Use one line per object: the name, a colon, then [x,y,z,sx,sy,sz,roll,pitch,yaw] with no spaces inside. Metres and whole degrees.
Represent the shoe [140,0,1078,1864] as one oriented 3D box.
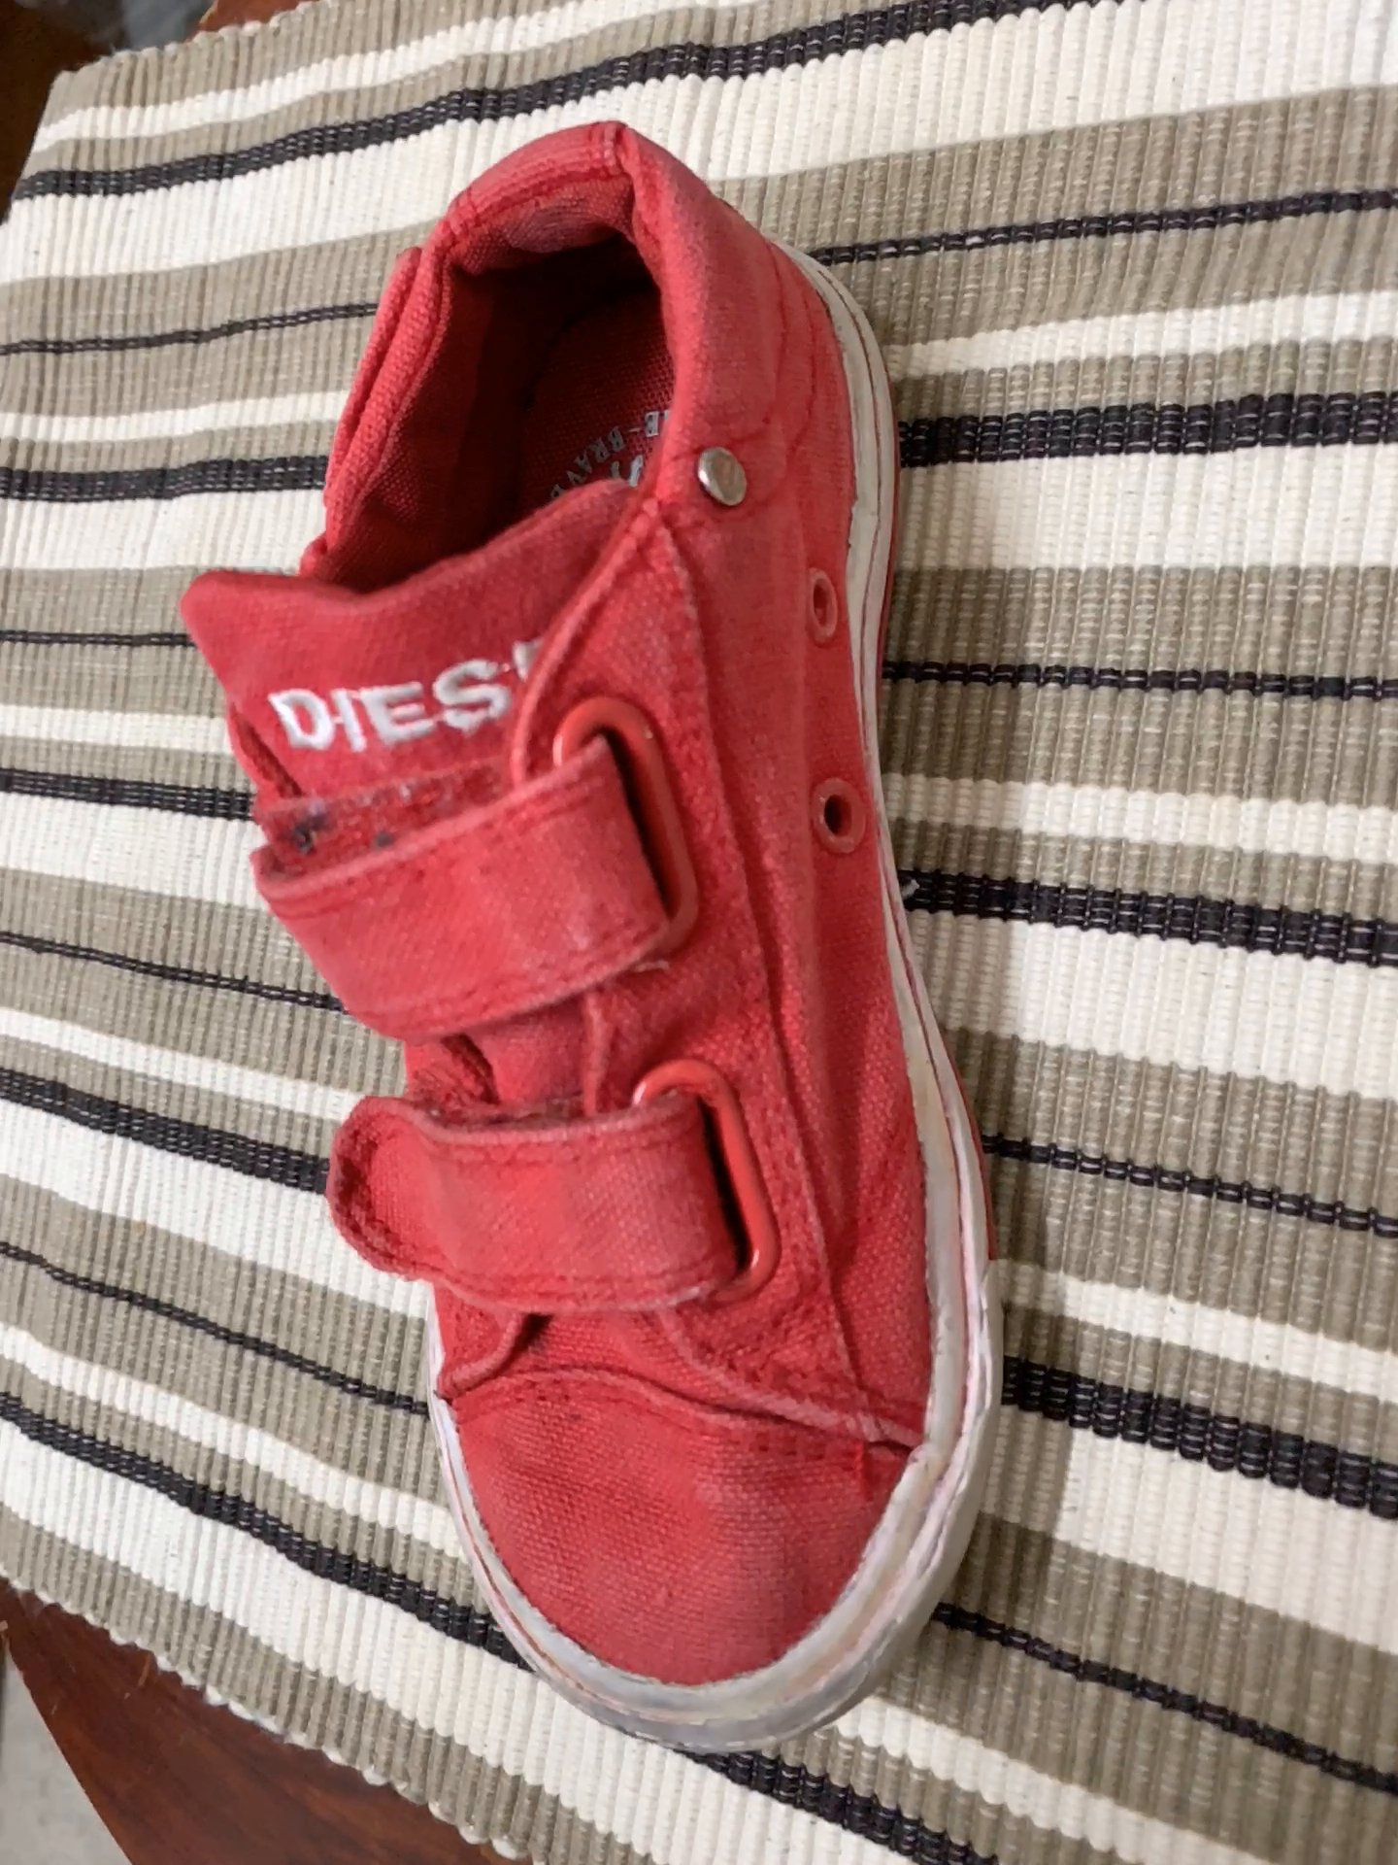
shoe: [-0.008,-0.007,0.171,0.080,0.070,0.170,-4,84,31]
